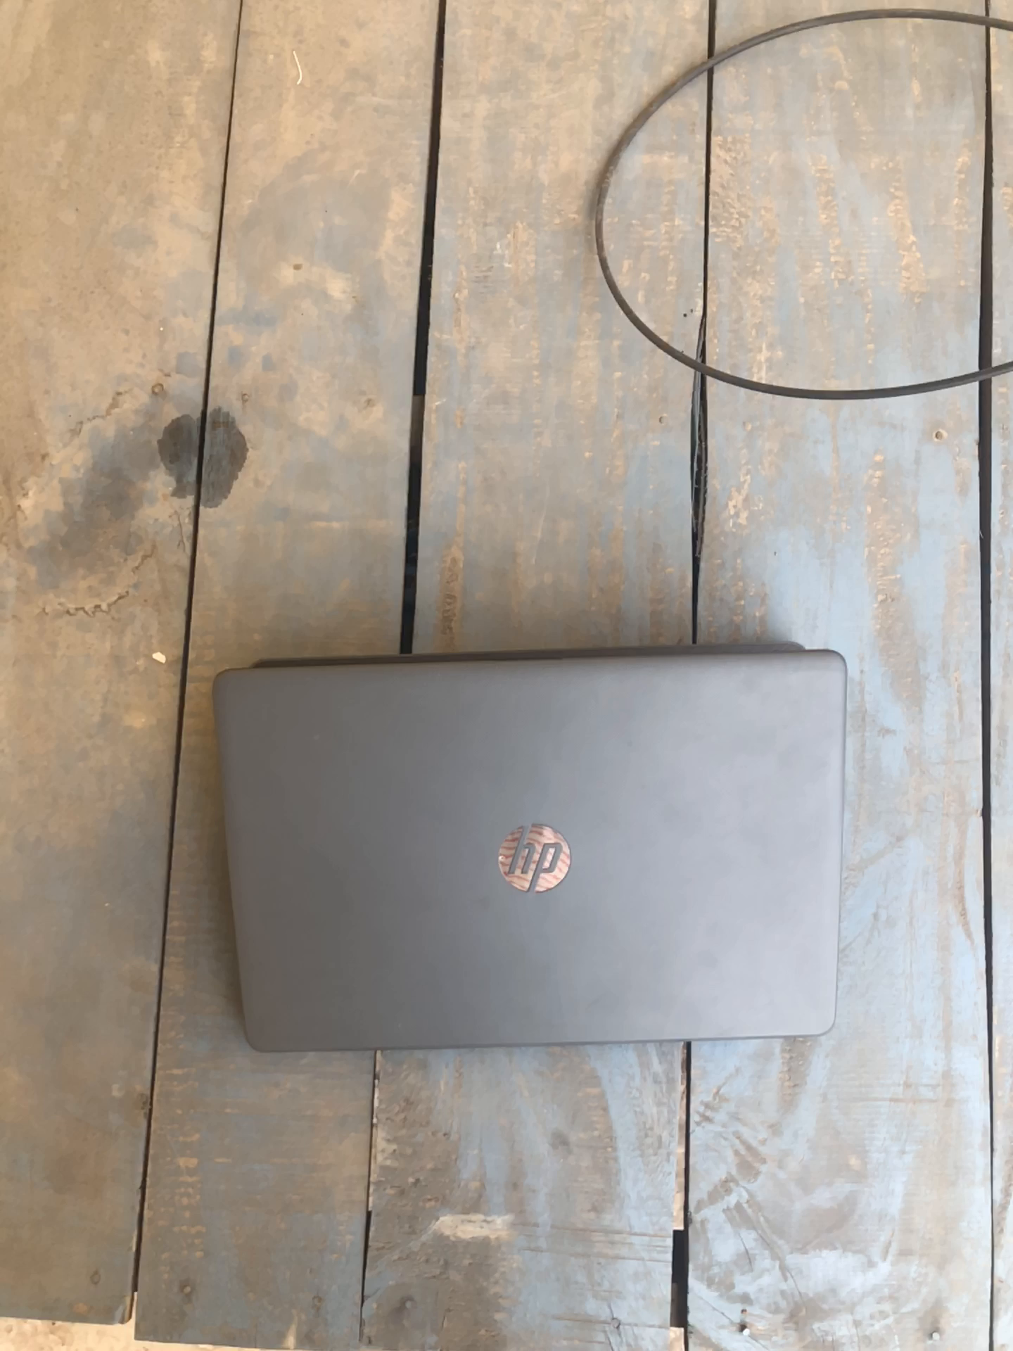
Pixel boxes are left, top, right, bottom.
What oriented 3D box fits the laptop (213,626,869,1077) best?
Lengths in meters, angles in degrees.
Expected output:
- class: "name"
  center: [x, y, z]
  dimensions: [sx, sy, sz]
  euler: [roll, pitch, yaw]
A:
- class: "laptop"
  center: [0.015, 0.103, 0.677]
  dimensions: [0.361, 0.097, 0.243]
  euler: [-2, 83, 1]
